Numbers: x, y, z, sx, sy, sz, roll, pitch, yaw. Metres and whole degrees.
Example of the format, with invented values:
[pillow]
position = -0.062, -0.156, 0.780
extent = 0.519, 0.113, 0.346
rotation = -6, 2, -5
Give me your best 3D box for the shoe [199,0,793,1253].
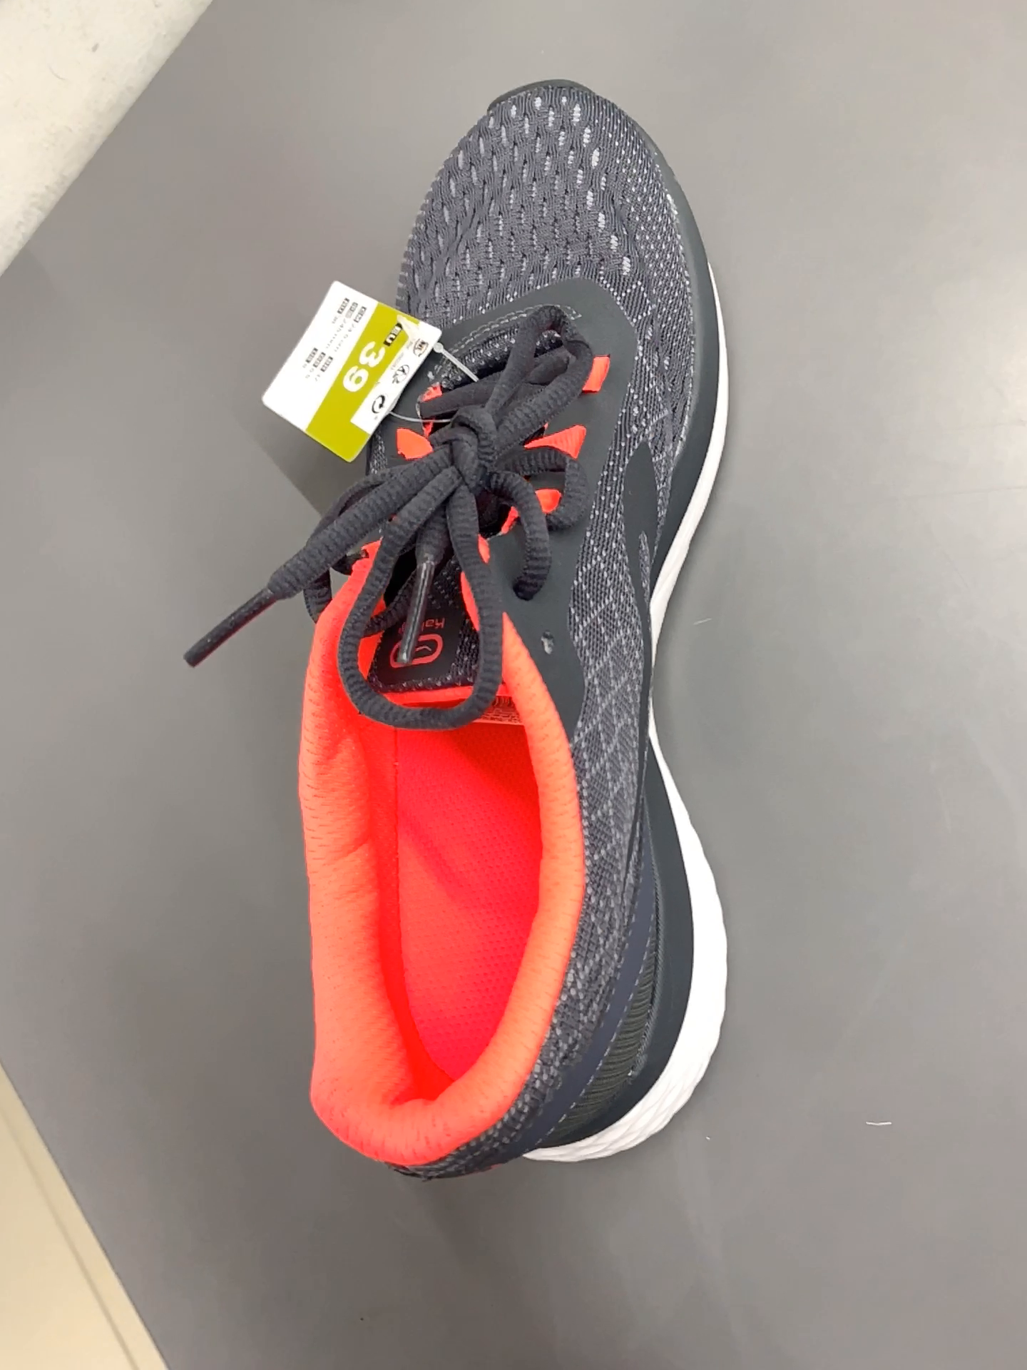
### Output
[shoe]
position = 0.007, -0.020, 0.284
extent = 0.110, 0.110, 0.270
rotation = -3, 78, 22
